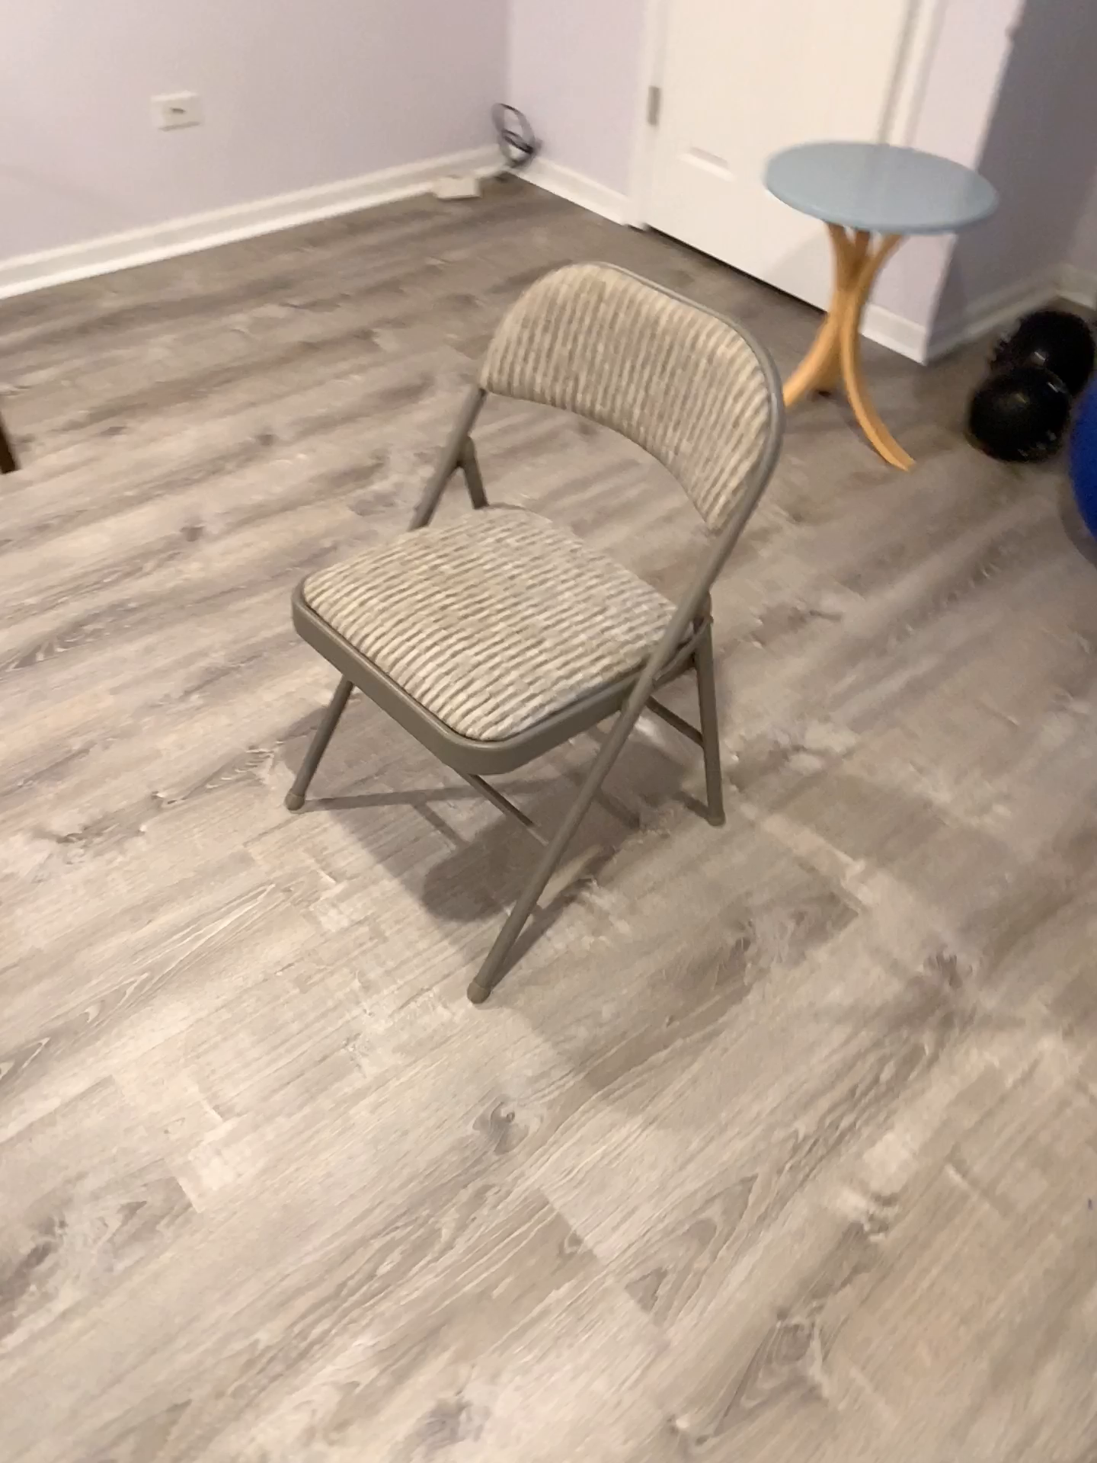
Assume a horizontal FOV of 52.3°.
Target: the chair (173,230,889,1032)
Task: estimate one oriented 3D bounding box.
[{"bbox_3d":[-0.025,-0.143,1.444,0.587,0.708,0.503,-31,53,-31],"label":"chair"}]
